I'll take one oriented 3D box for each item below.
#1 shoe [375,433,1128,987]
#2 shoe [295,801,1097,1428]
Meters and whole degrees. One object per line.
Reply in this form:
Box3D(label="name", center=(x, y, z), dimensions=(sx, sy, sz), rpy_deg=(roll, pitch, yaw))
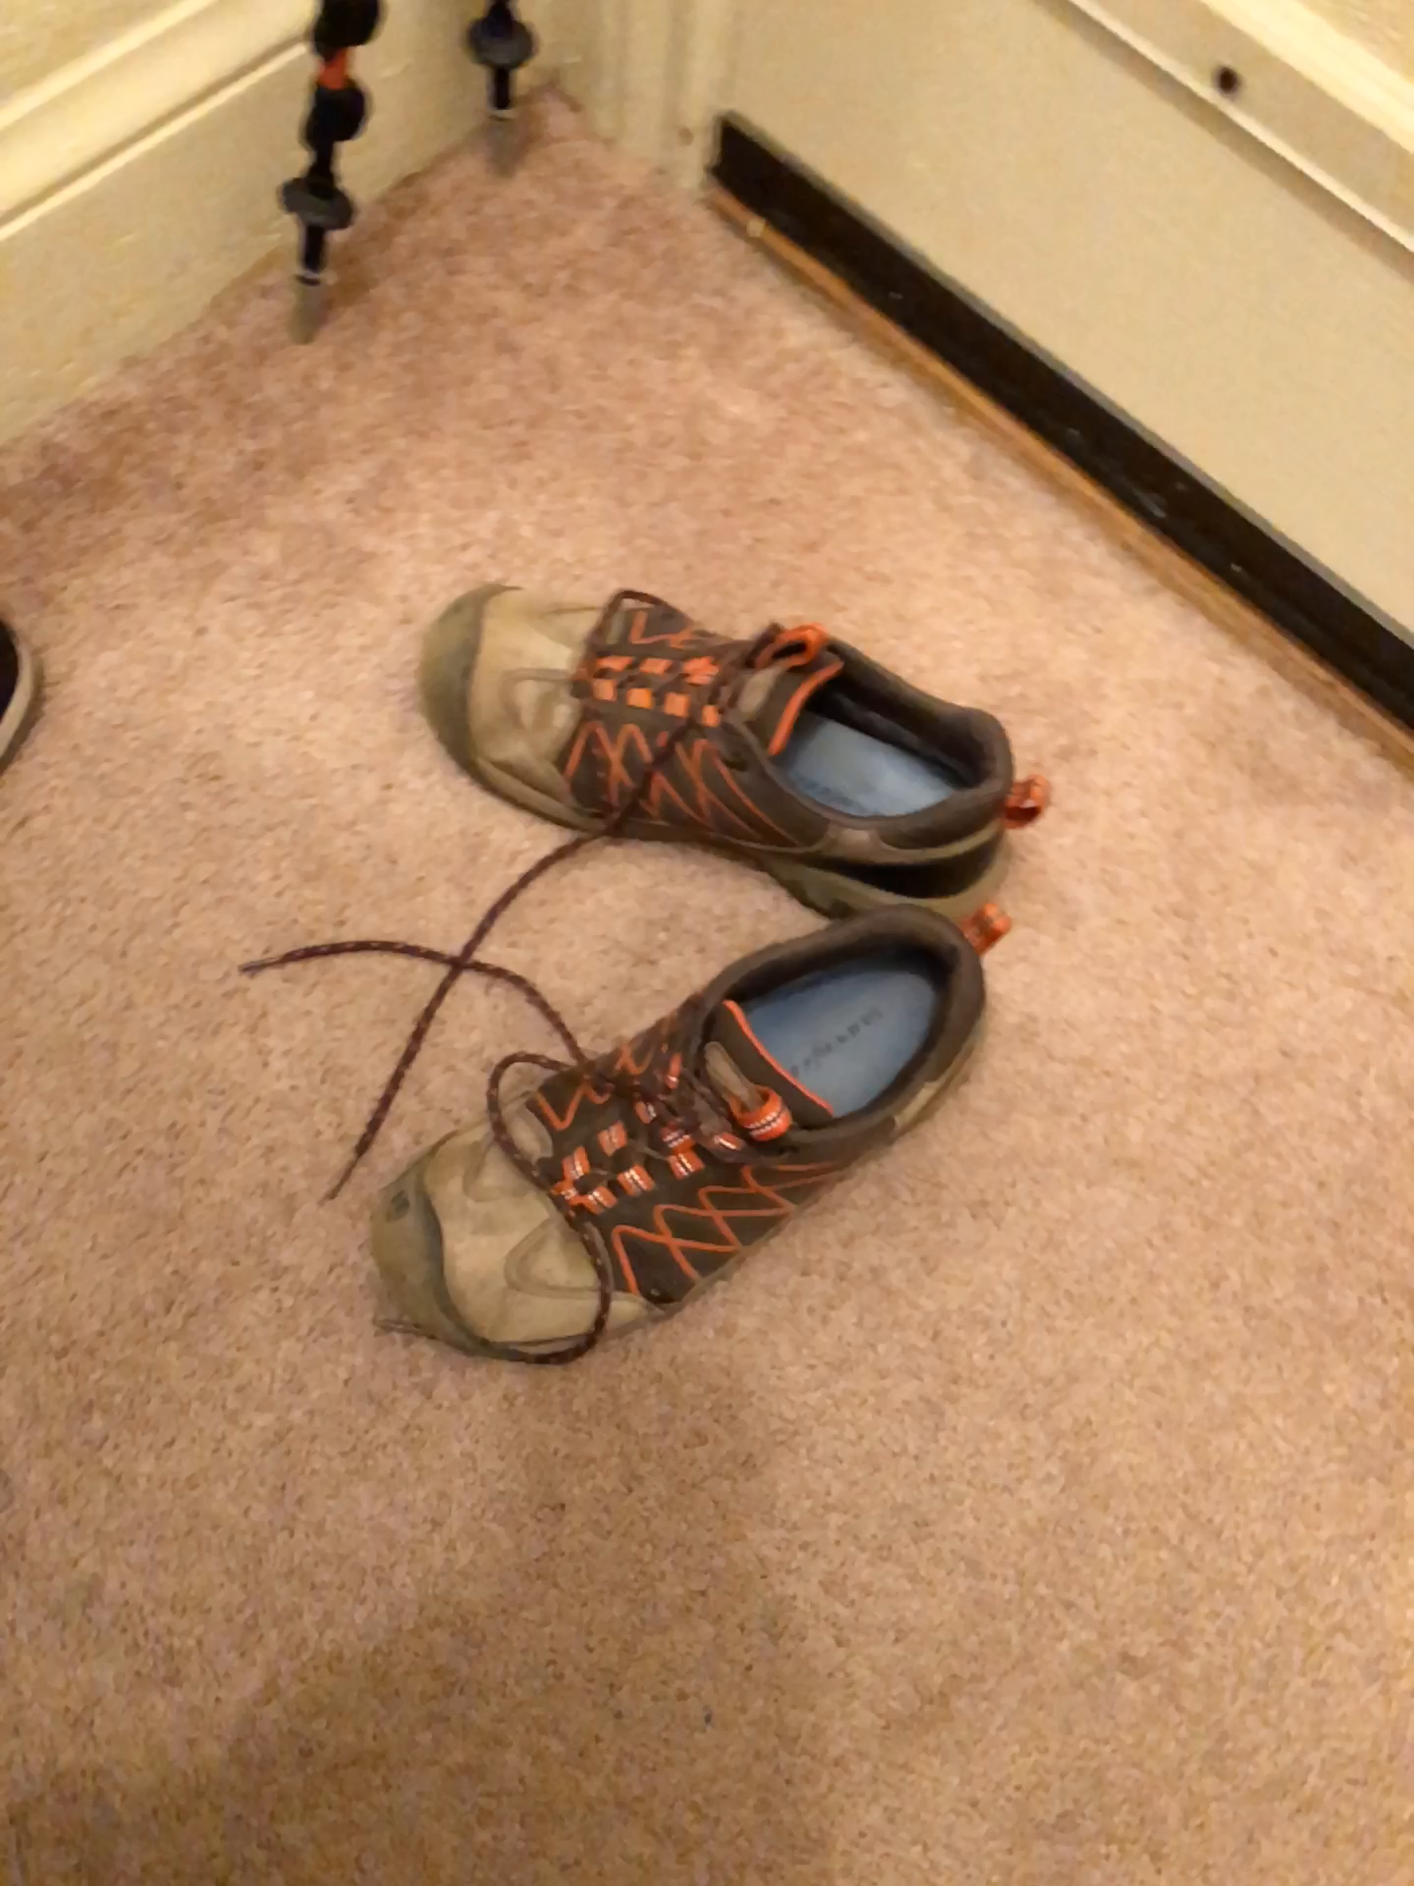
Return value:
Box3D(label="shoe", center=(0.018, -0.102, 0.723), dimensions=(0.300, 0.130, 0.120), rpy_deg=(19, 69, 1))
Box3D(label="shoe", center=(-0.006, 0.072, 0.632), dimensions=(0.270, 0.130, 0.120), rpy_deg=(-25, 74, -14))
